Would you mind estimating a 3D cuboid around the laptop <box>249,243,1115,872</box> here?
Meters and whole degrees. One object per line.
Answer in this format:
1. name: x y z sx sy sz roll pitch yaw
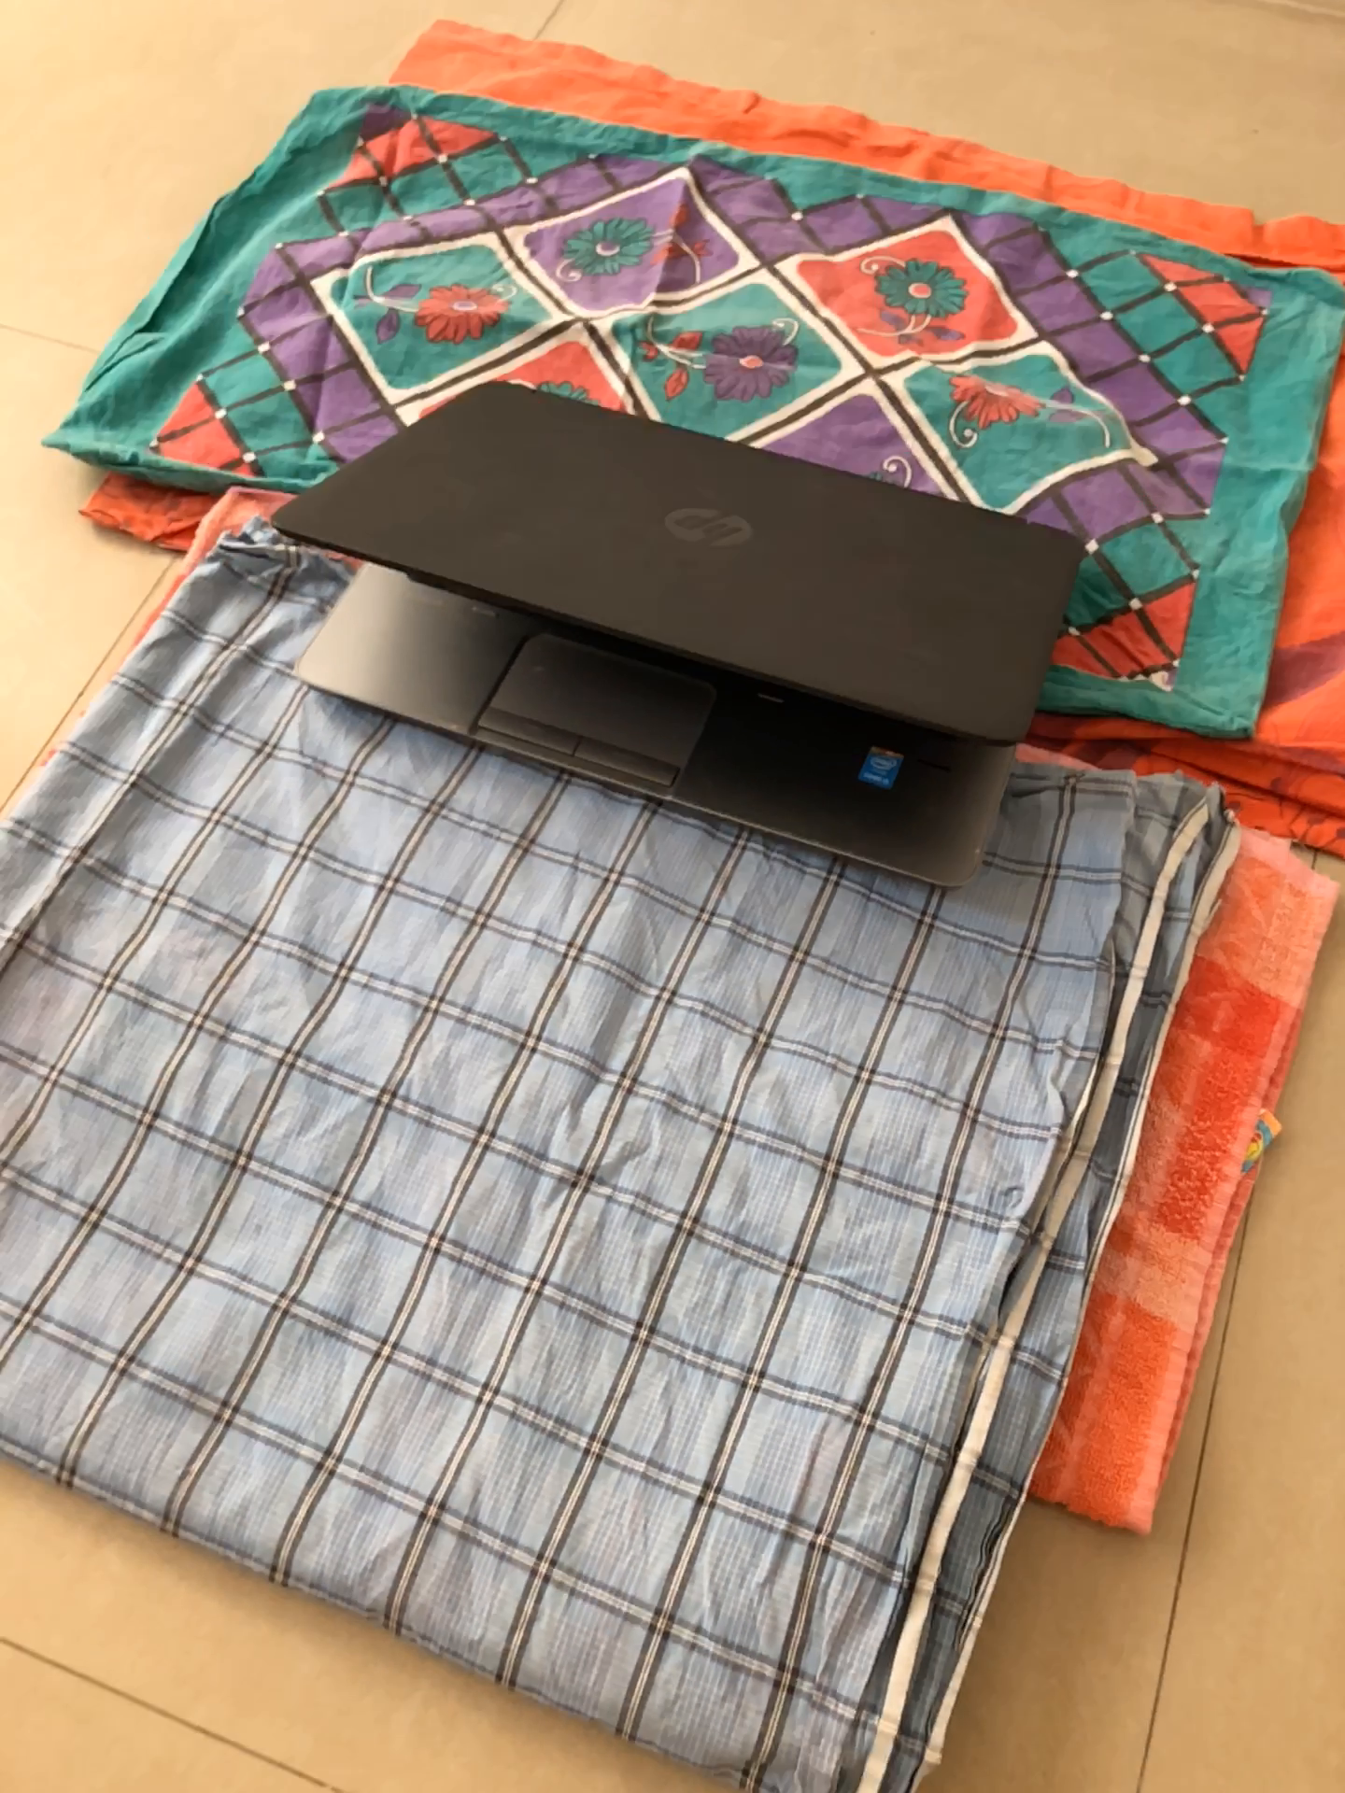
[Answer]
1. laptop: 0.016 -0.164 0.687 0.321 0.099 0.213 18 57 8
